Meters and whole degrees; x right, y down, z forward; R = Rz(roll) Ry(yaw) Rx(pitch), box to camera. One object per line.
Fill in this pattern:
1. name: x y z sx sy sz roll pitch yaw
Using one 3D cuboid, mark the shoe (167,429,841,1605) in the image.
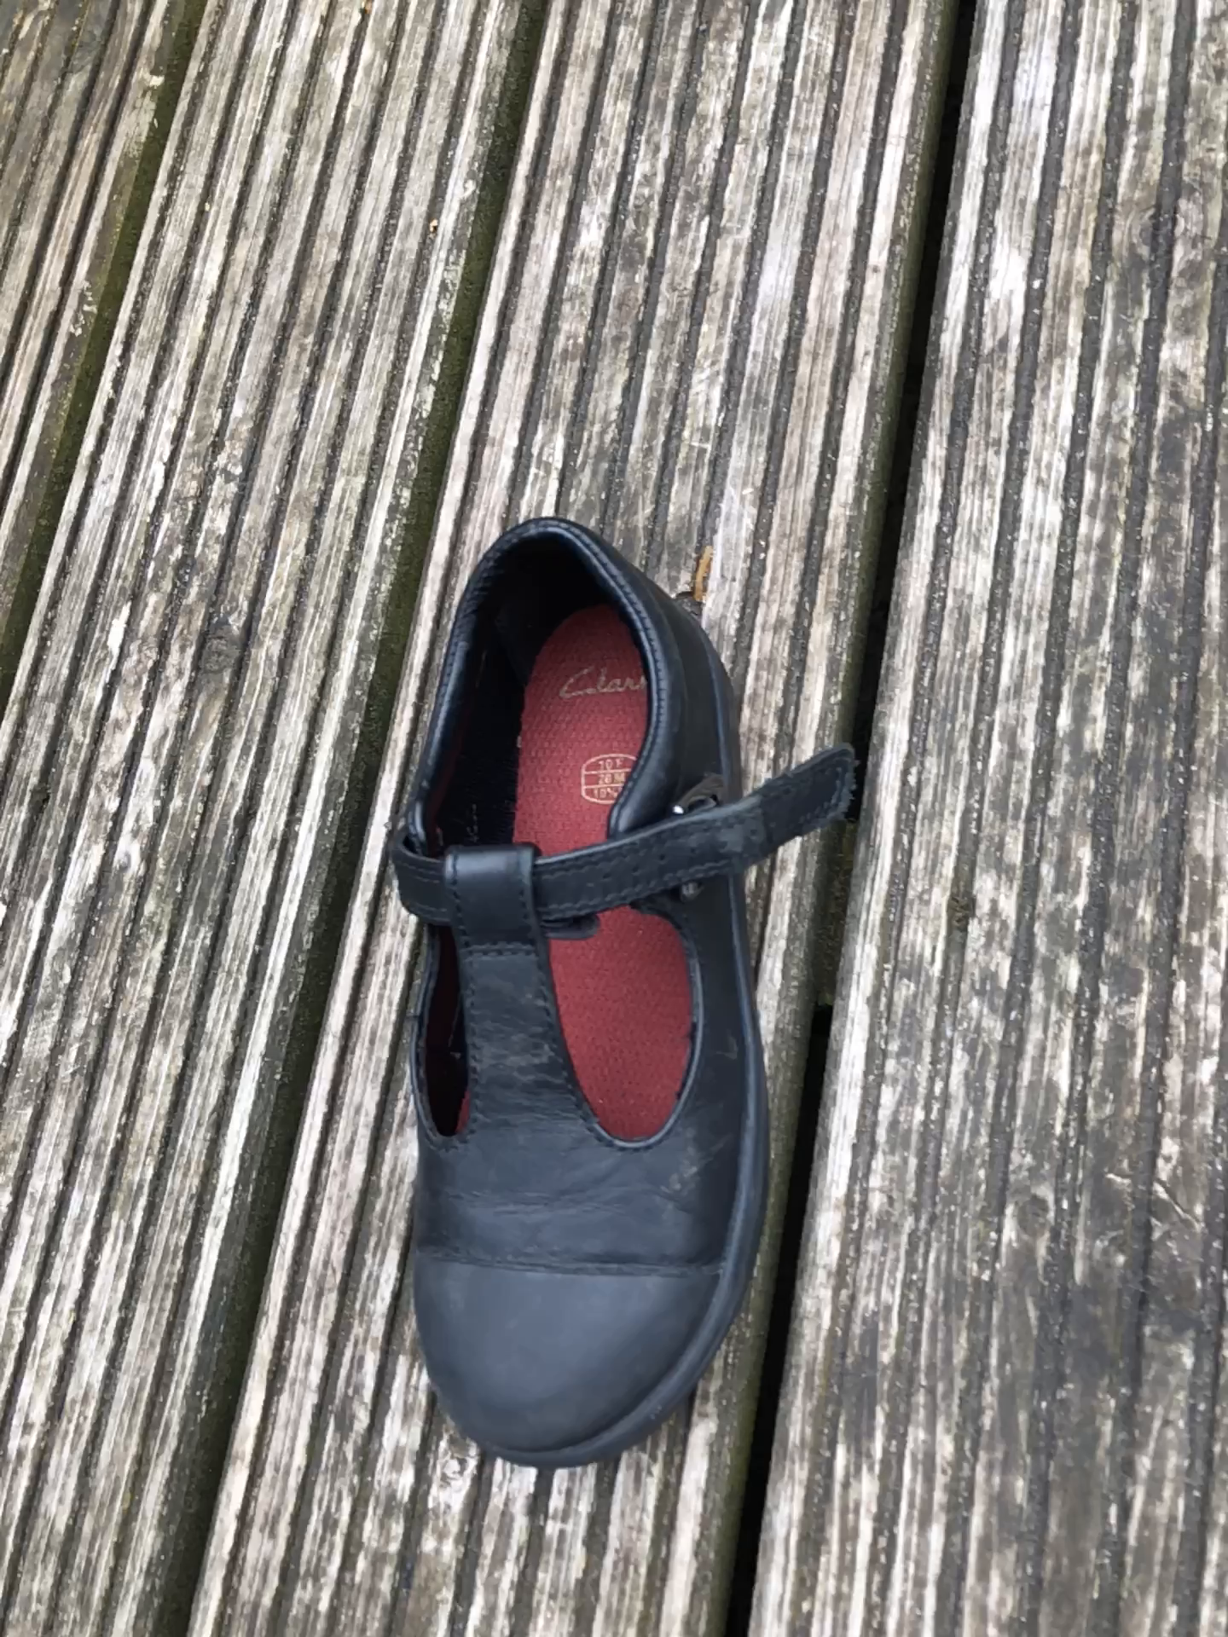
1. shoe: -0.011 0.031 0.272 0.080 0.080 0.193 4 77 21
